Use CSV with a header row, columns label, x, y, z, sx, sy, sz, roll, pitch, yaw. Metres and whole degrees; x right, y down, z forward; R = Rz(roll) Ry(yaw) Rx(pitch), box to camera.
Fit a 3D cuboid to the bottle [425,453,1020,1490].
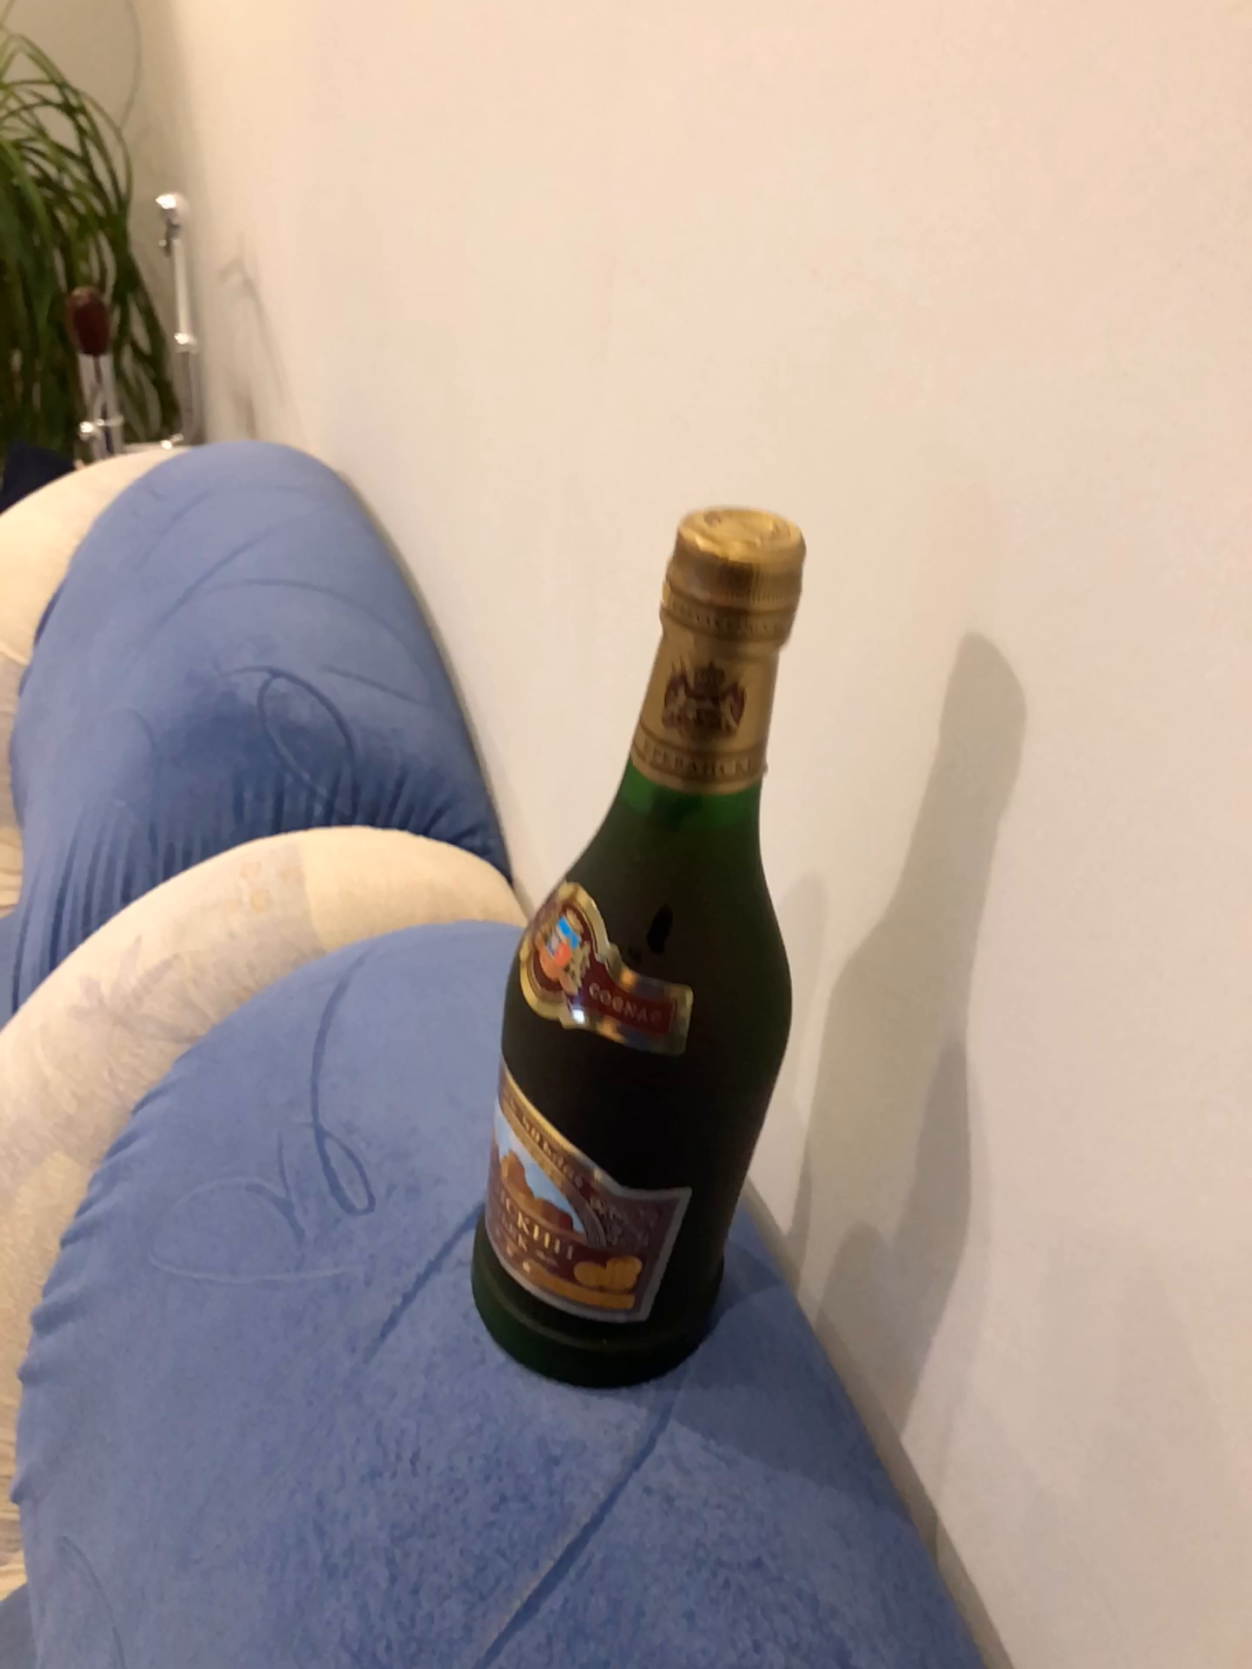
label,x,y,z,sx,sy,sz,roll,pitch,yaw
bottle,0.007,0.040,0.349,0.080,0.242,0.091,-11,37,-26
